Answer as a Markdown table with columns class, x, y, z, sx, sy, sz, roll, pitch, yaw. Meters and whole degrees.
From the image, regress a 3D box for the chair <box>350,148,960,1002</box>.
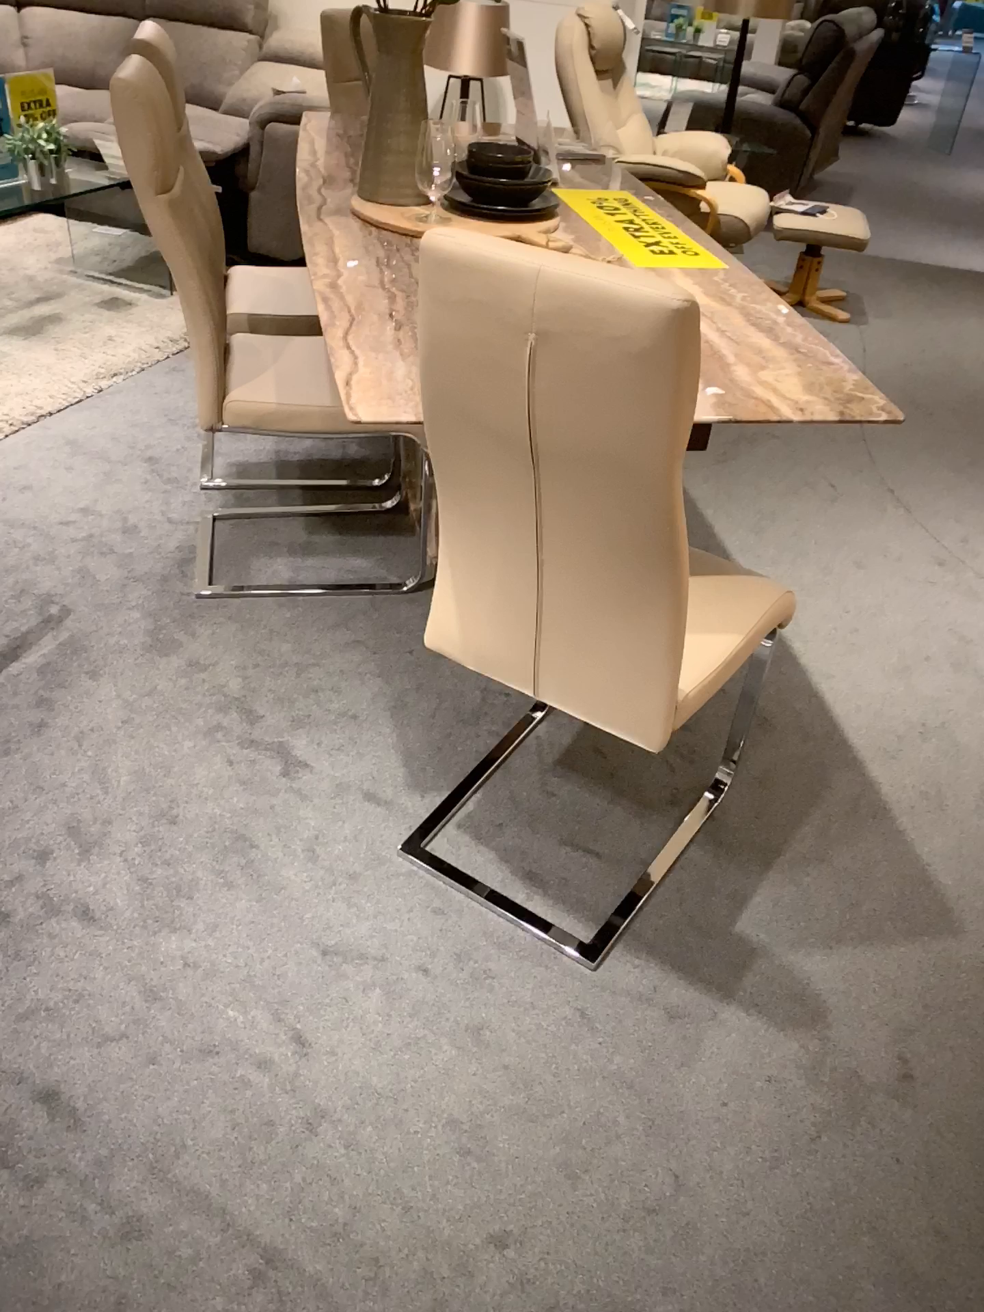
| class | x | y | z | sx | sy | sz | roll | pitch | yaw |
| --- | --- | --- | --- | --- | --- | --- | --- | --- | --- |
| chair | 0.185 | -0.133 | 1.473 | 0.528 | 0.981 | 0.587 | 24 | 39 | 24 |
